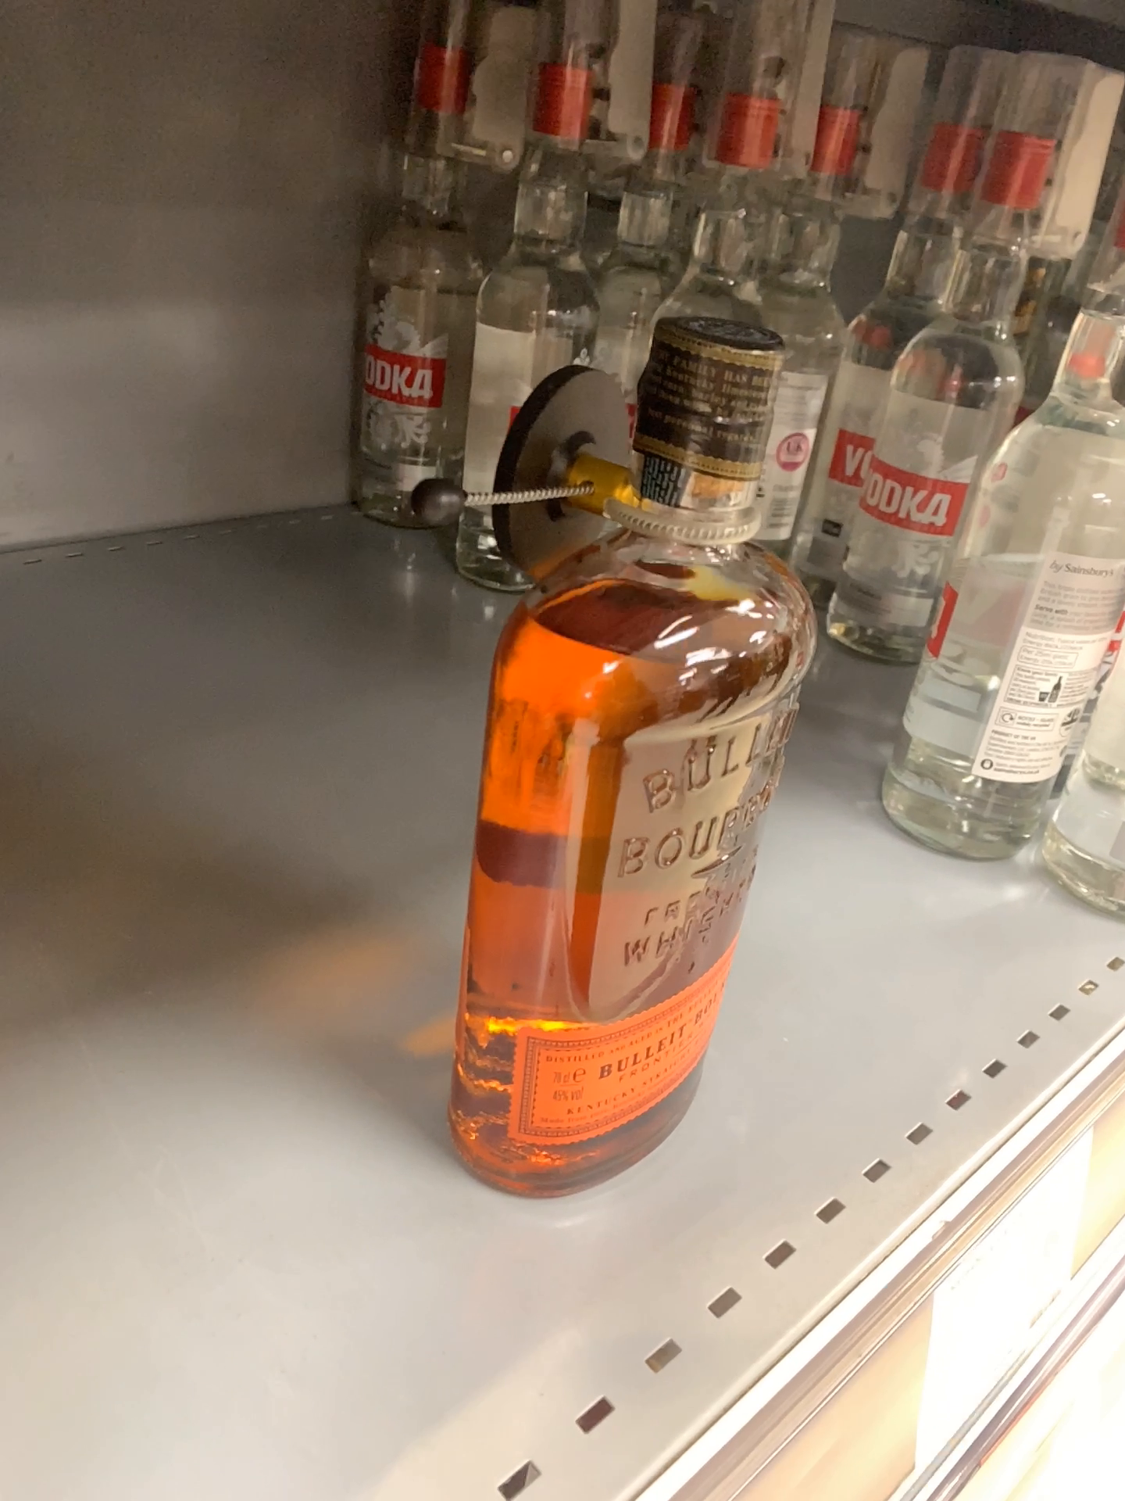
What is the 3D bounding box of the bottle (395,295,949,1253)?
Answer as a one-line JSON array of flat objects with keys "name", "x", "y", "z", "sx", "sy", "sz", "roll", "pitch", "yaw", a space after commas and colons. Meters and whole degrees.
[{"name": "bottle", "x": 0.020, "y": 0.008, "z": 0.304, "sx": 0.060, "sy": 0.228, "sz": 0.101, "roll": 29, "pitch": 36, "yaw": 32}]
